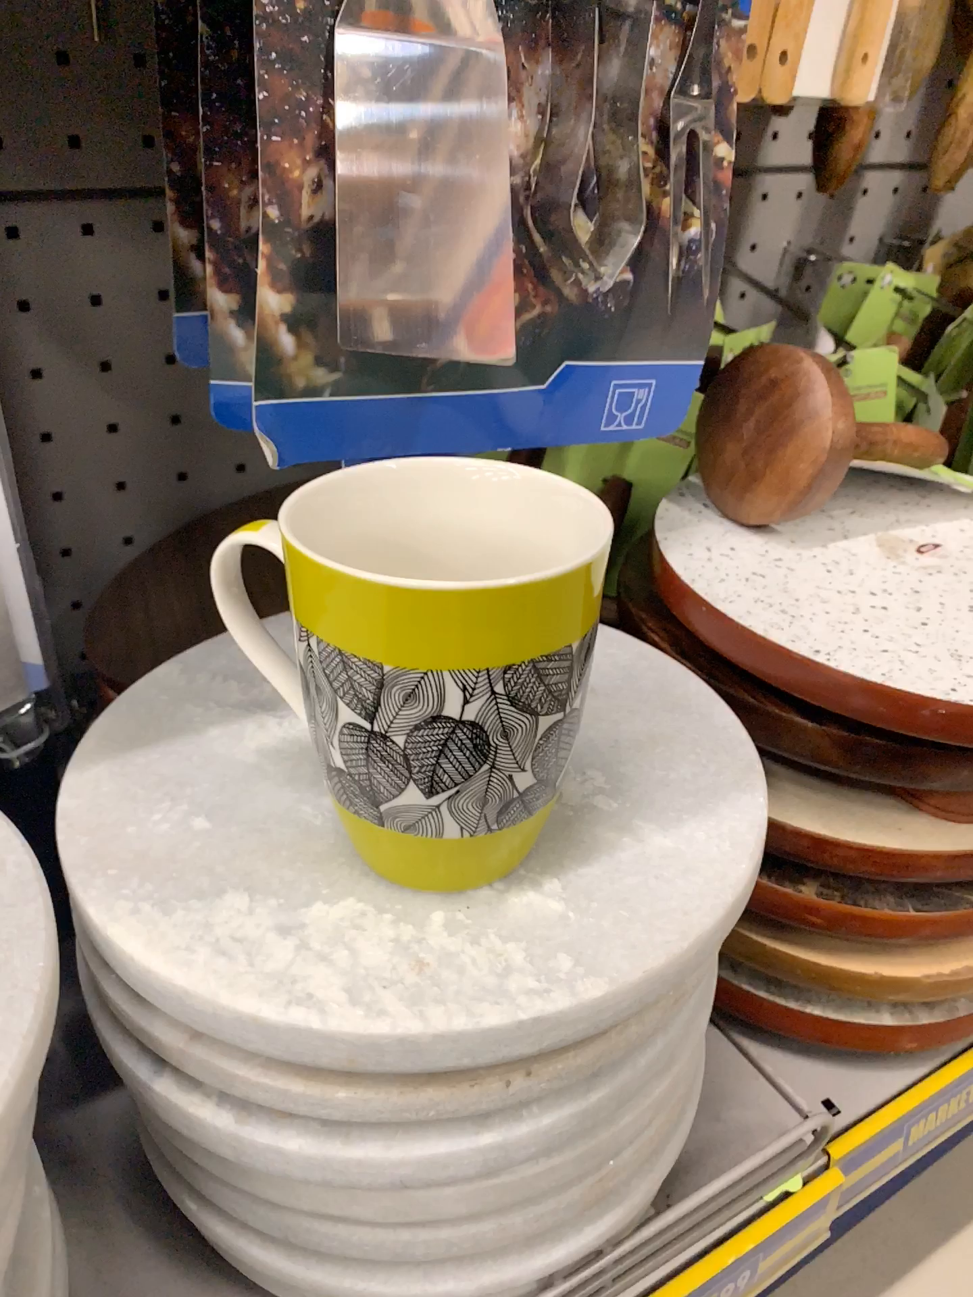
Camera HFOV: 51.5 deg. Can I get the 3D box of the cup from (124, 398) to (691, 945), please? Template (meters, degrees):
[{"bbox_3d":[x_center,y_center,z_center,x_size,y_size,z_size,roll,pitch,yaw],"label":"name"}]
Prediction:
[{"bbox_3d":[-0.018,-0.001,0.265,0.110,0.090,0.080,17,34,21],"label":"cup"}]
